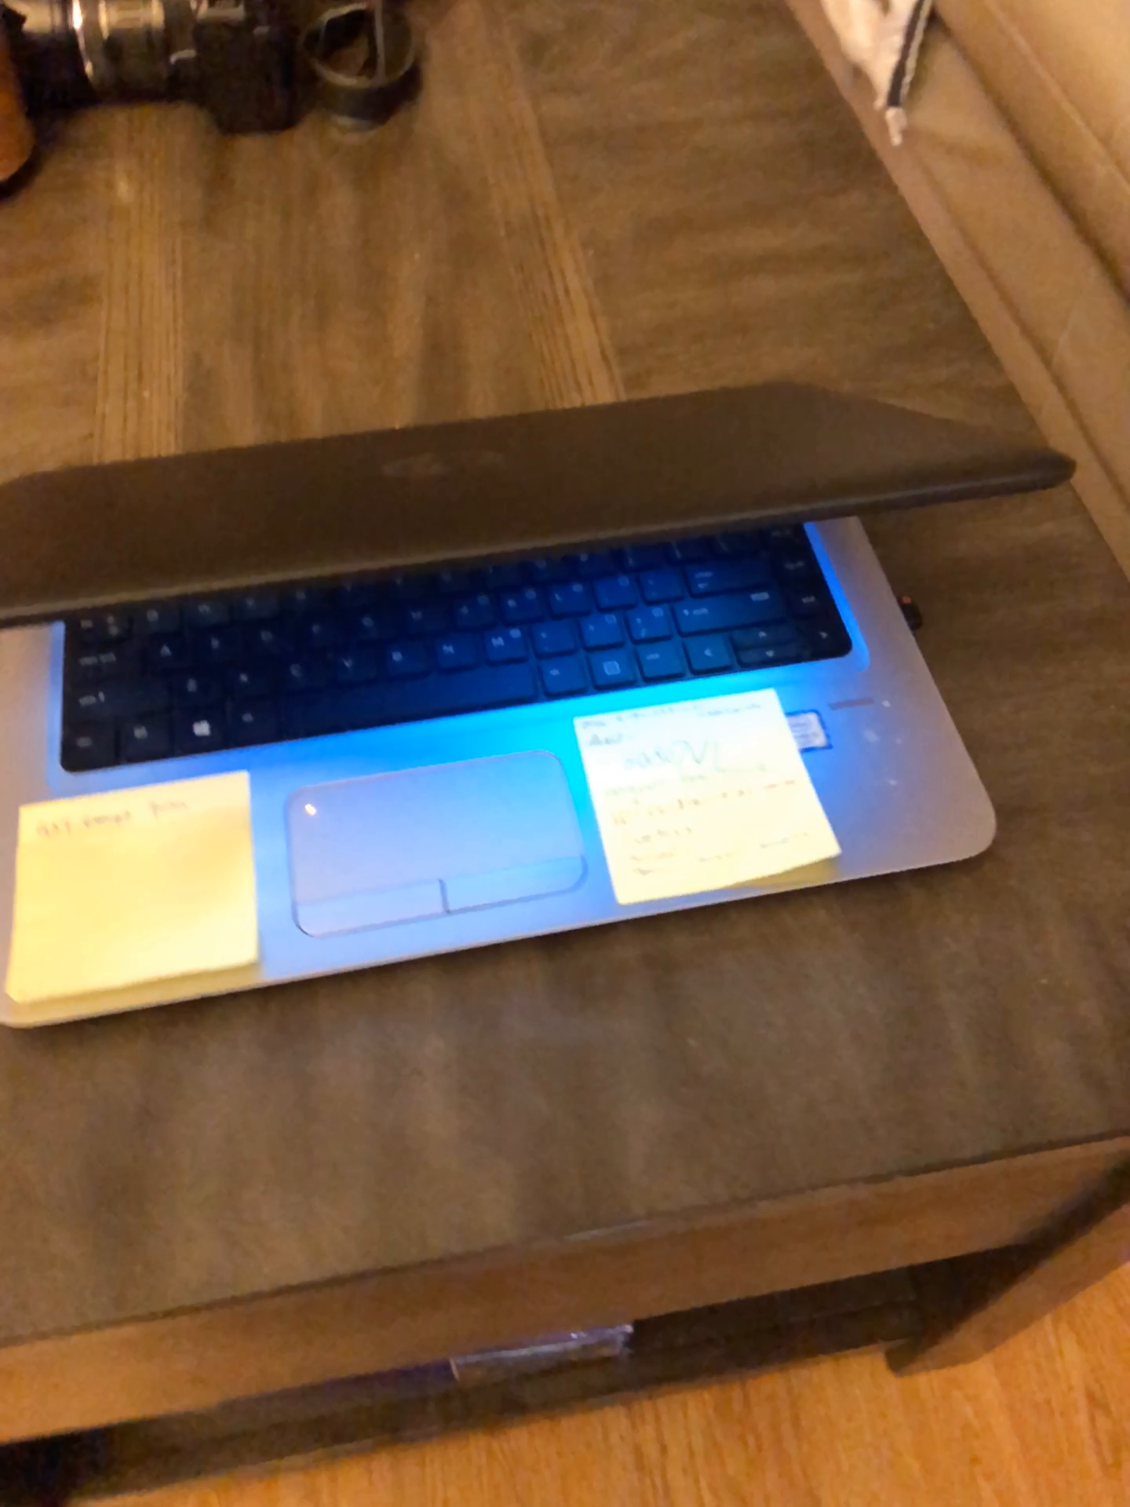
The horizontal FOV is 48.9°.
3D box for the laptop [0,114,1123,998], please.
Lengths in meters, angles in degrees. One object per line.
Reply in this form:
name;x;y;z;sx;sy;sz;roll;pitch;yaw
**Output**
laptop;-0.036;-0.078;0.413;0.323;0.131;0.227;-8;55;-9
